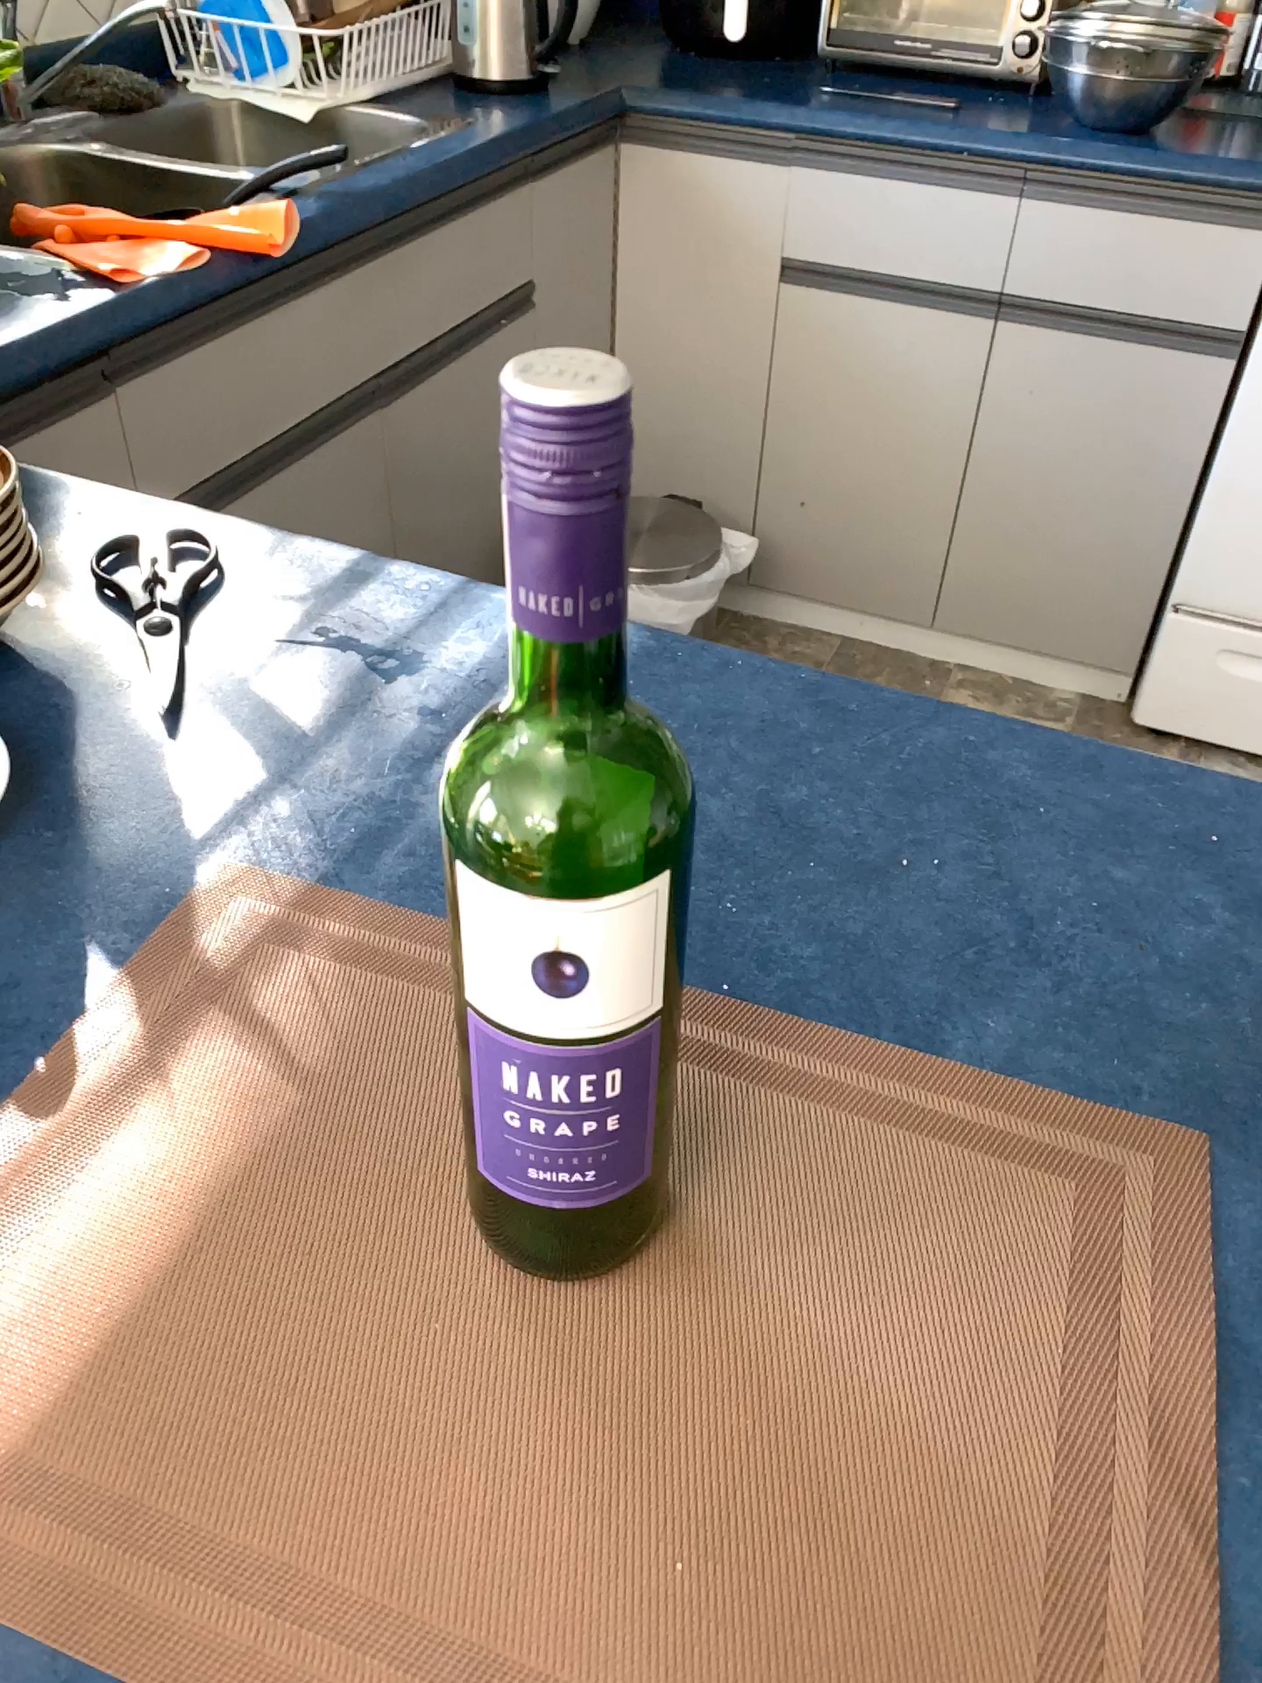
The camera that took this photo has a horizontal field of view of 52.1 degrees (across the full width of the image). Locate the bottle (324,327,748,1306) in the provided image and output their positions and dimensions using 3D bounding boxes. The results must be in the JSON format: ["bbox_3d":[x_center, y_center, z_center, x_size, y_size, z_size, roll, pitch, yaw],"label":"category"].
[{"bbox_3d":[-0.022,0.016,0.366,0.080,0.287,0.081,1,39,-1],"label":"bottle"}]
